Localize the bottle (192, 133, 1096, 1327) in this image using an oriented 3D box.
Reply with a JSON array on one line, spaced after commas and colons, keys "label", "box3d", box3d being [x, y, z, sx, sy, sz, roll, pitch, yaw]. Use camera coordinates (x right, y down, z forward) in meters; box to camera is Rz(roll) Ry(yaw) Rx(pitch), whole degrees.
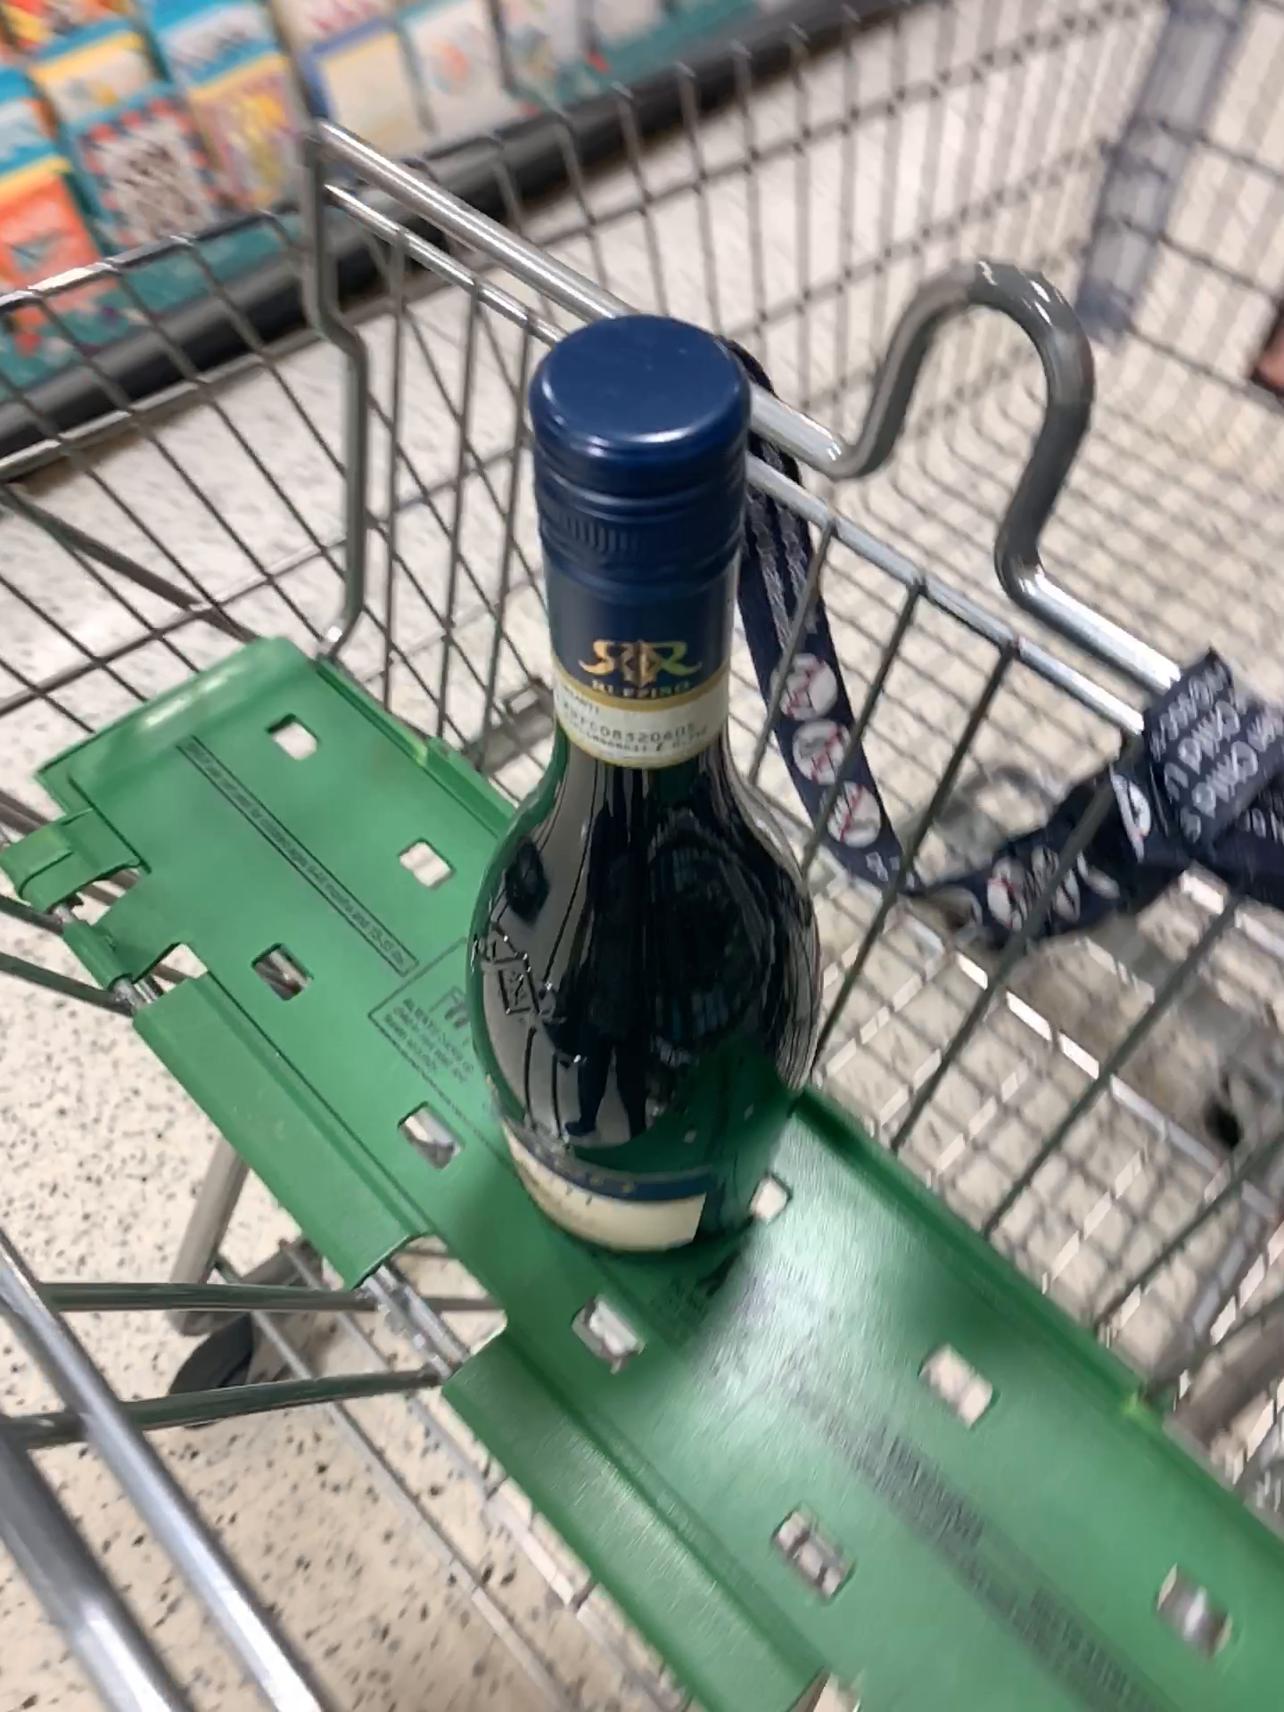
[{"label": "bottle", "box3d": [0.000, 0.006, 0.298, 0.090, 0.268, 0.090, 0, 57, 0]}]
